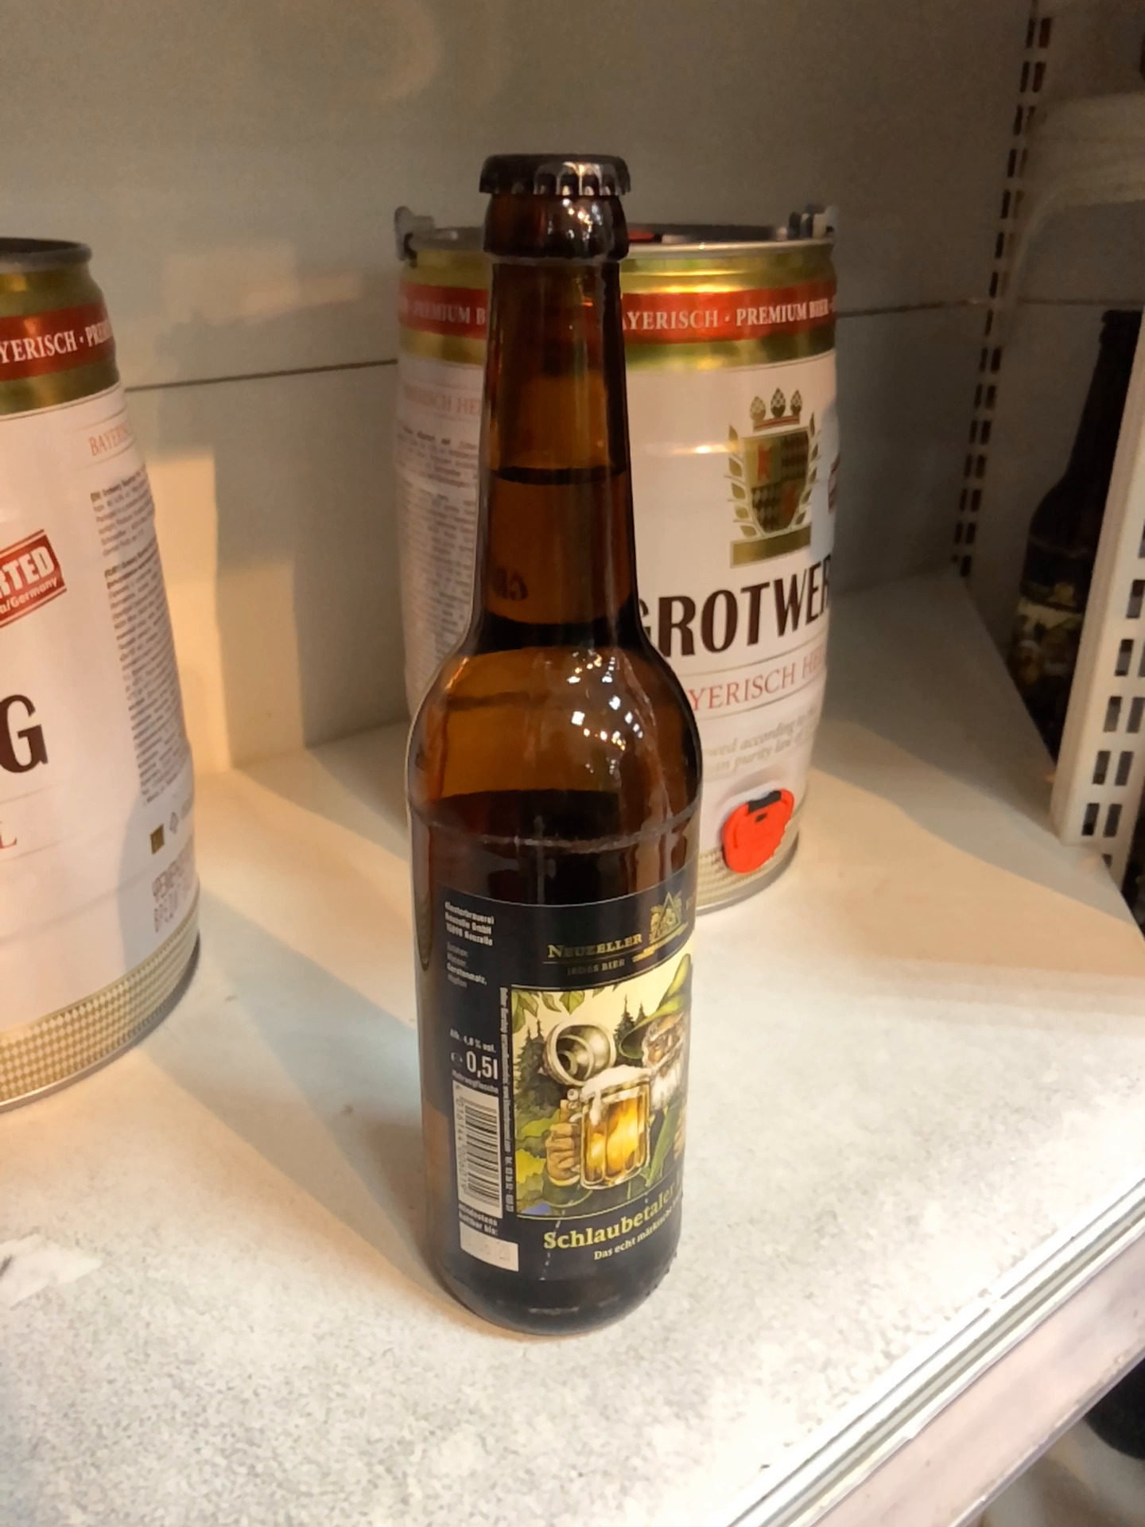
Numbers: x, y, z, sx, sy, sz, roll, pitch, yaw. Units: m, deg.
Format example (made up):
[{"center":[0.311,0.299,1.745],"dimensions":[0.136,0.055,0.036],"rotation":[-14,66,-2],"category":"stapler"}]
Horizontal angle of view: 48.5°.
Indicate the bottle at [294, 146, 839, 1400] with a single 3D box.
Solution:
[{"center":[-0.002,0.008,0.278],"dimensions":[0.071,0.257,0.064],"rotation":[-20,32,-36],"category":"bottle"}]
